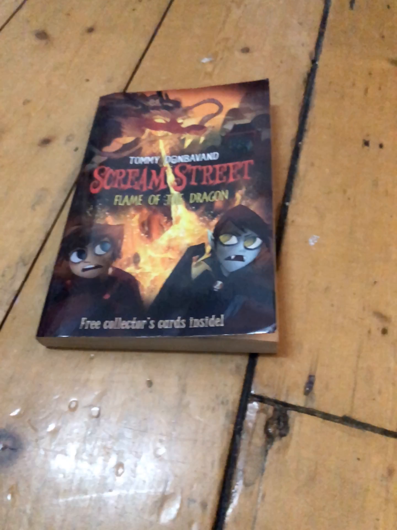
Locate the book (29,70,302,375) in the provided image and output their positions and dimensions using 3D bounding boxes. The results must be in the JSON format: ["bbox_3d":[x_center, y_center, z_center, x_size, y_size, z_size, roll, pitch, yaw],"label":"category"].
[{"bbox_3d":[-0.010,-0.038,0.276,0.130,0.040,0.201,-1,59,7],"label":"book"}]
